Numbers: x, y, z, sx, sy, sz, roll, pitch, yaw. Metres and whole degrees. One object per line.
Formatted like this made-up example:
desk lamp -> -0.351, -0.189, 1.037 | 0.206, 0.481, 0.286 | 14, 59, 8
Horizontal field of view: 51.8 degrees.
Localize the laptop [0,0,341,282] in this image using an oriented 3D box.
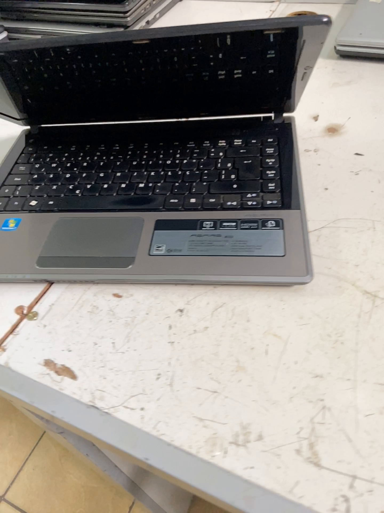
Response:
laptop -> -0.070, -0.117, 0.351 | 0.334, 0.157, 0.227 | 0, 50, 8
